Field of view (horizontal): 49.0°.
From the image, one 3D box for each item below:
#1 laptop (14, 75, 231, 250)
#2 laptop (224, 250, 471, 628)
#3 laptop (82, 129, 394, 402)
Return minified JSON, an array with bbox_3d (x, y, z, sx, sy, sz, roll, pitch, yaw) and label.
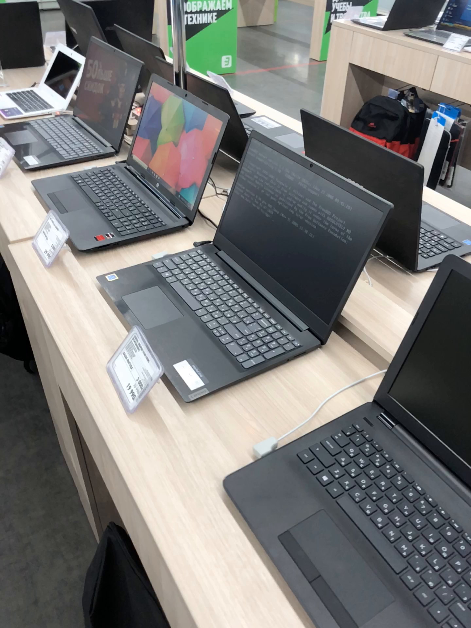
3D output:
[{"bbox_3d":[-0.243,-0.343,1.103,0.320,0.202,0.352,-19,42,-24],"label":"laptop"},{"bbox_3d":[0.196,0.154,0.466,0.297,0.208,0.338,-20,43,-25],"label":"laptop"},{"bbox_3d":[-0.015,-0.107,0.806,0.322,0.210,0.341,-20,42,-24],"label":"laptop"}]
